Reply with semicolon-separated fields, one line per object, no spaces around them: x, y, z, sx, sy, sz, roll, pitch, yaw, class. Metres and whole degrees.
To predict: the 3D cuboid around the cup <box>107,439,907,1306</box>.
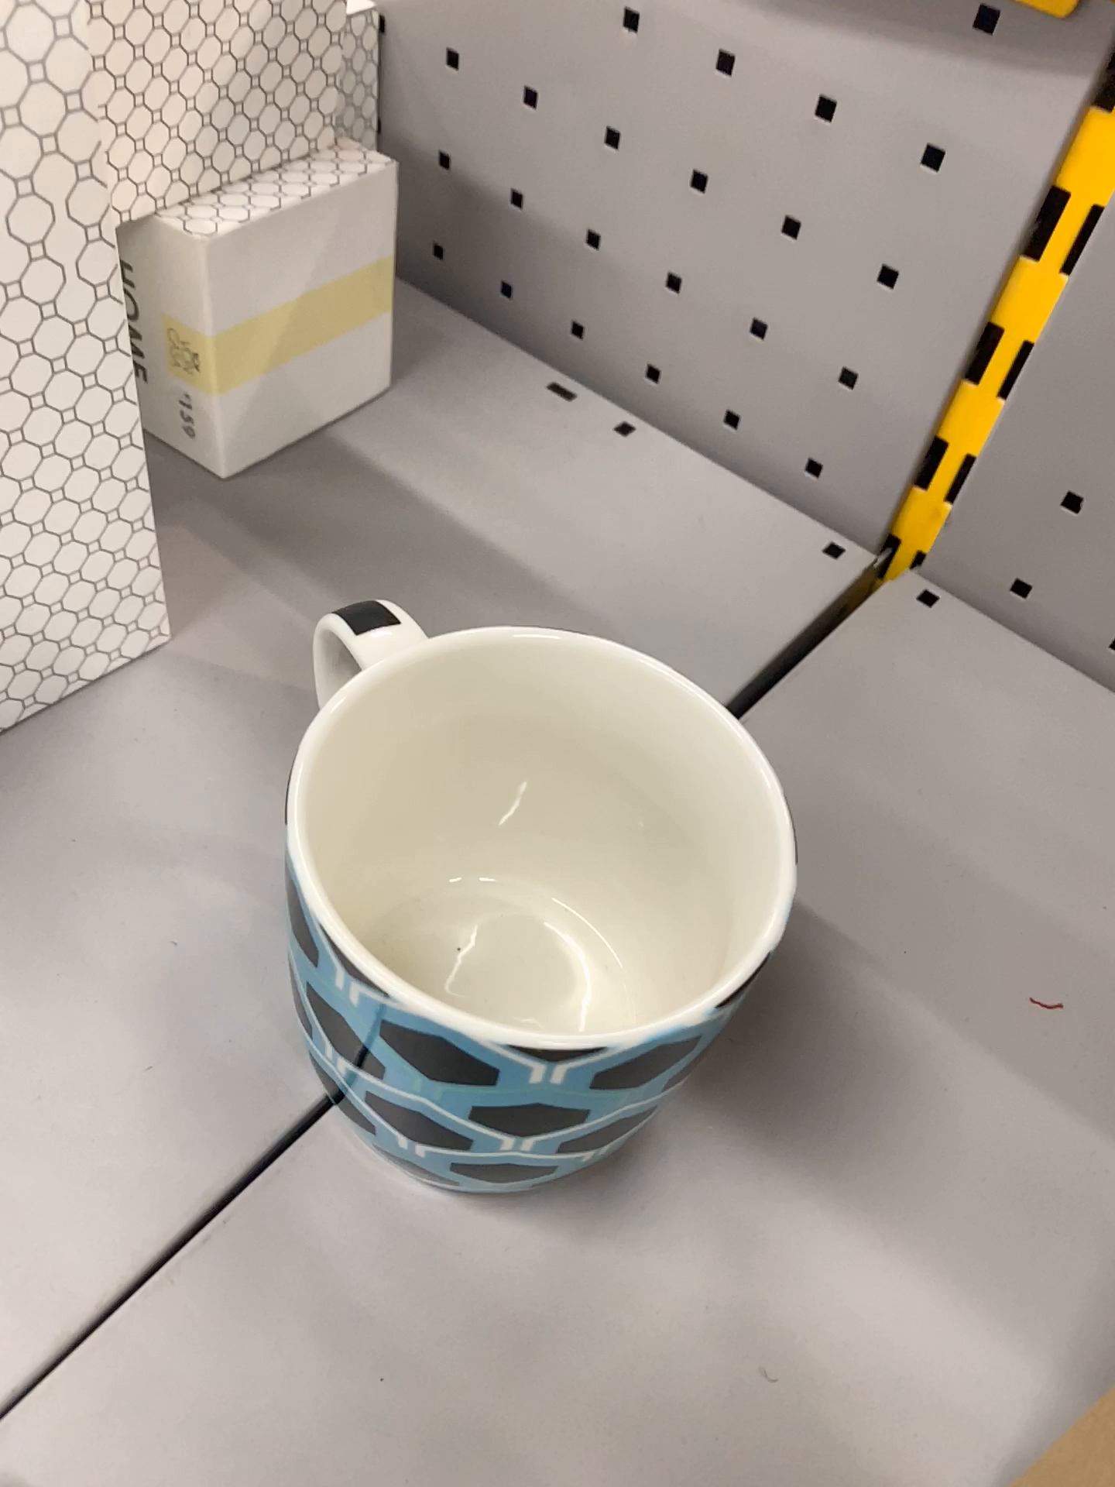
-0.019;0.020;0.231;0.090;0.090;0.120;-20;57;-26;cup
